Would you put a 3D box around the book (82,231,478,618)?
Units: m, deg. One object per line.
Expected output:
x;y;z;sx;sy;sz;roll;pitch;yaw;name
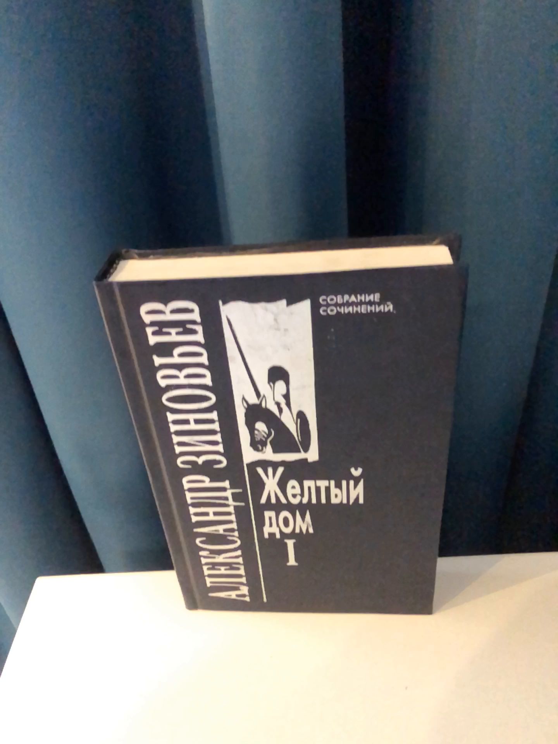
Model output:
0.009;0.041;0.292;0.140;0.210;0.033;-1;37;7;book
